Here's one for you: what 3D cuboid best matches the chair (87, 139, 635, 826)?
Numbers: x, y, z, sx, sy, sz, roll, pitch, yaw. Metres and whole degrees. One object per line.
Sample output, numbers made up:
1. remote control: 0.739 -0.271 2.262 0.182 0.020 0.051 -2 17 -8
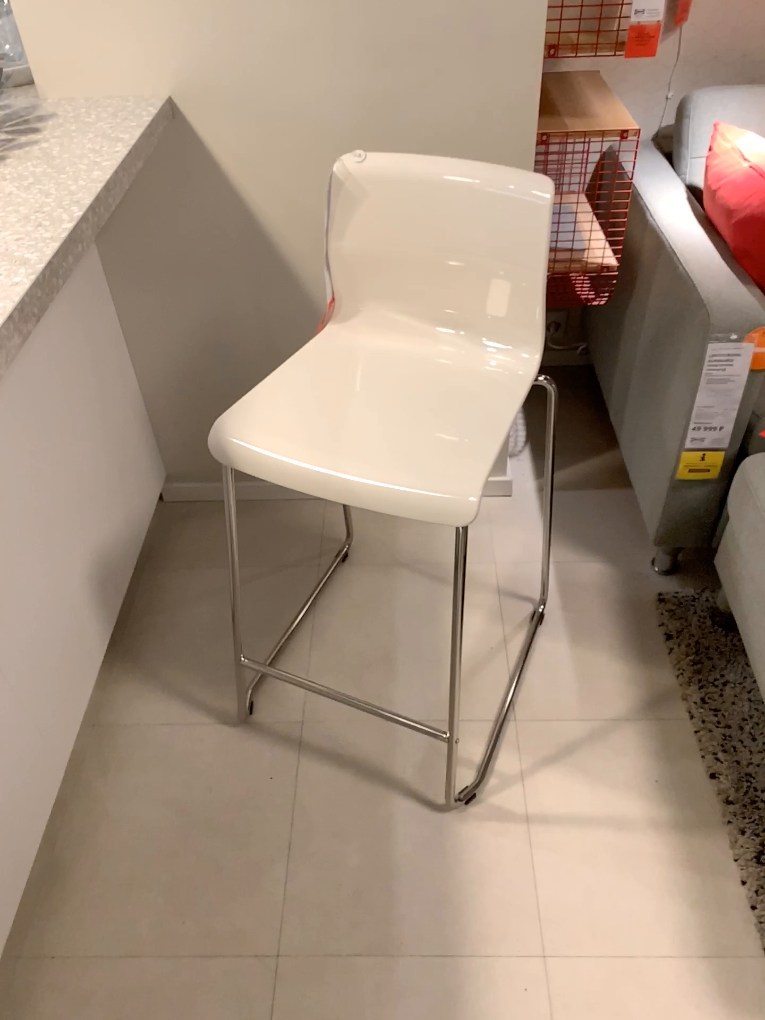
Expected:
1. chair: 0.022 -0.029 1.309 0.510 0.905 0.543 17 46 21
